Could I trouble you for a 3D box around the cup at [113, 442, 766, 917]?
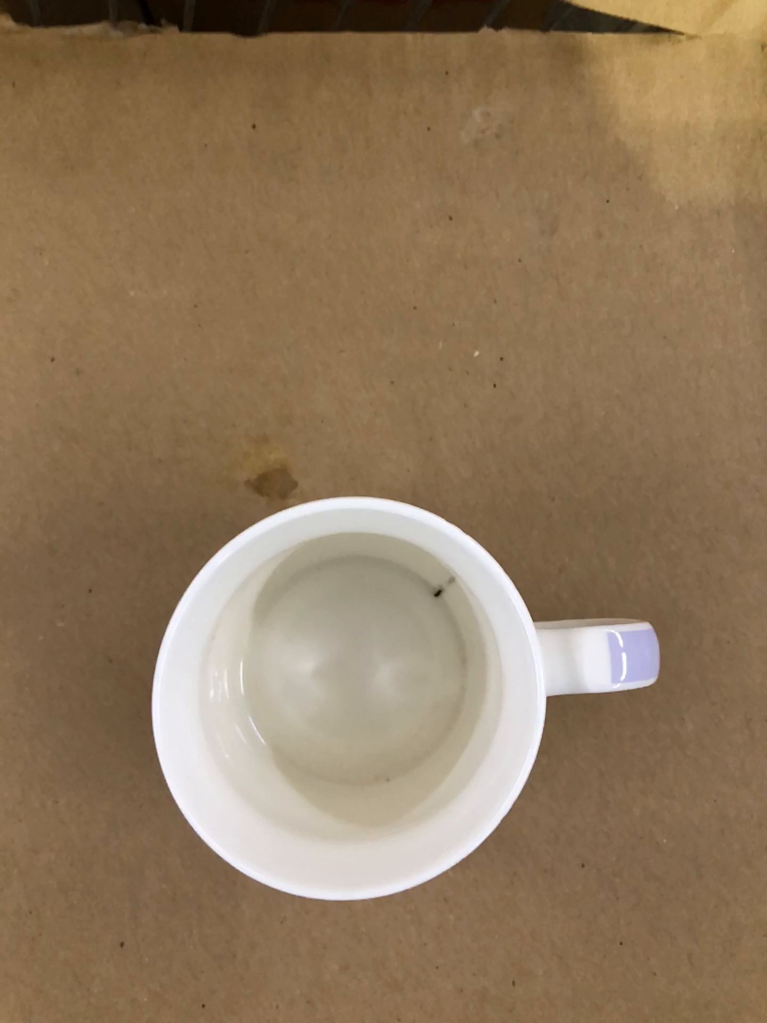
[{"bbox_3d":[0.013,0.040,0.234,0.140,0.090,0.090,-5,84,-2],"label":"cup"}]
